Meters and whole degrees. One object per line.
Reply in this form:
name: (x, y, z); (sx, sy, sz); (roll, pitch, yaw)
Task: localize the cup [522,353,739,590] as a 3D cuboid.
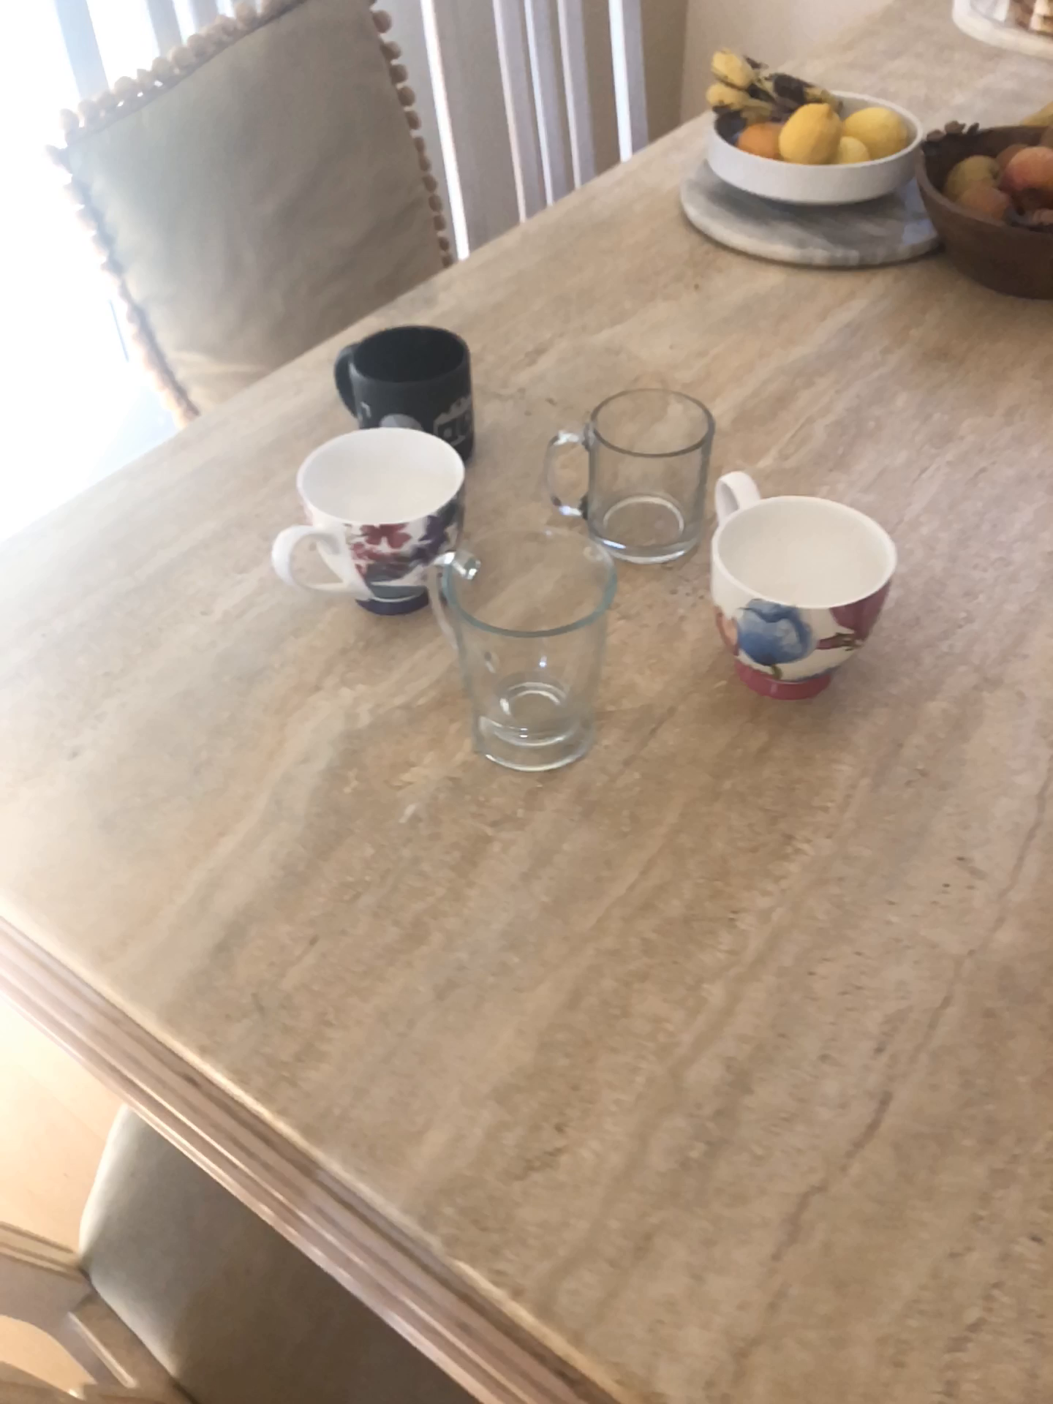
cup: (0.074, -0.165, 0.831); (0.130, 0.119, 0.091); (11, 46, 13)

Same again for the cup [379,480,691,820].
cup: (0.006, -0.033, 0.682); (0.140, 0.119, 0.101); (29, 53, 27)

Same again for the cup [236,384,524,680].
cup: (-0.088, -0.115, 0.756); (0.110, 0.099, 0.151); (20, 49, 21)

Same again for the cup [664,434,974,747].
cup: (0.173, -0.073, 0.725); (0.110, 0.099, 0.151); (-18, 47, -16)

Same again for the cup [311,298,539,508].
cup: (-0.077, -0.238, 0.916); (0.140, 0.089, 0.101); (29, 53, 27)
